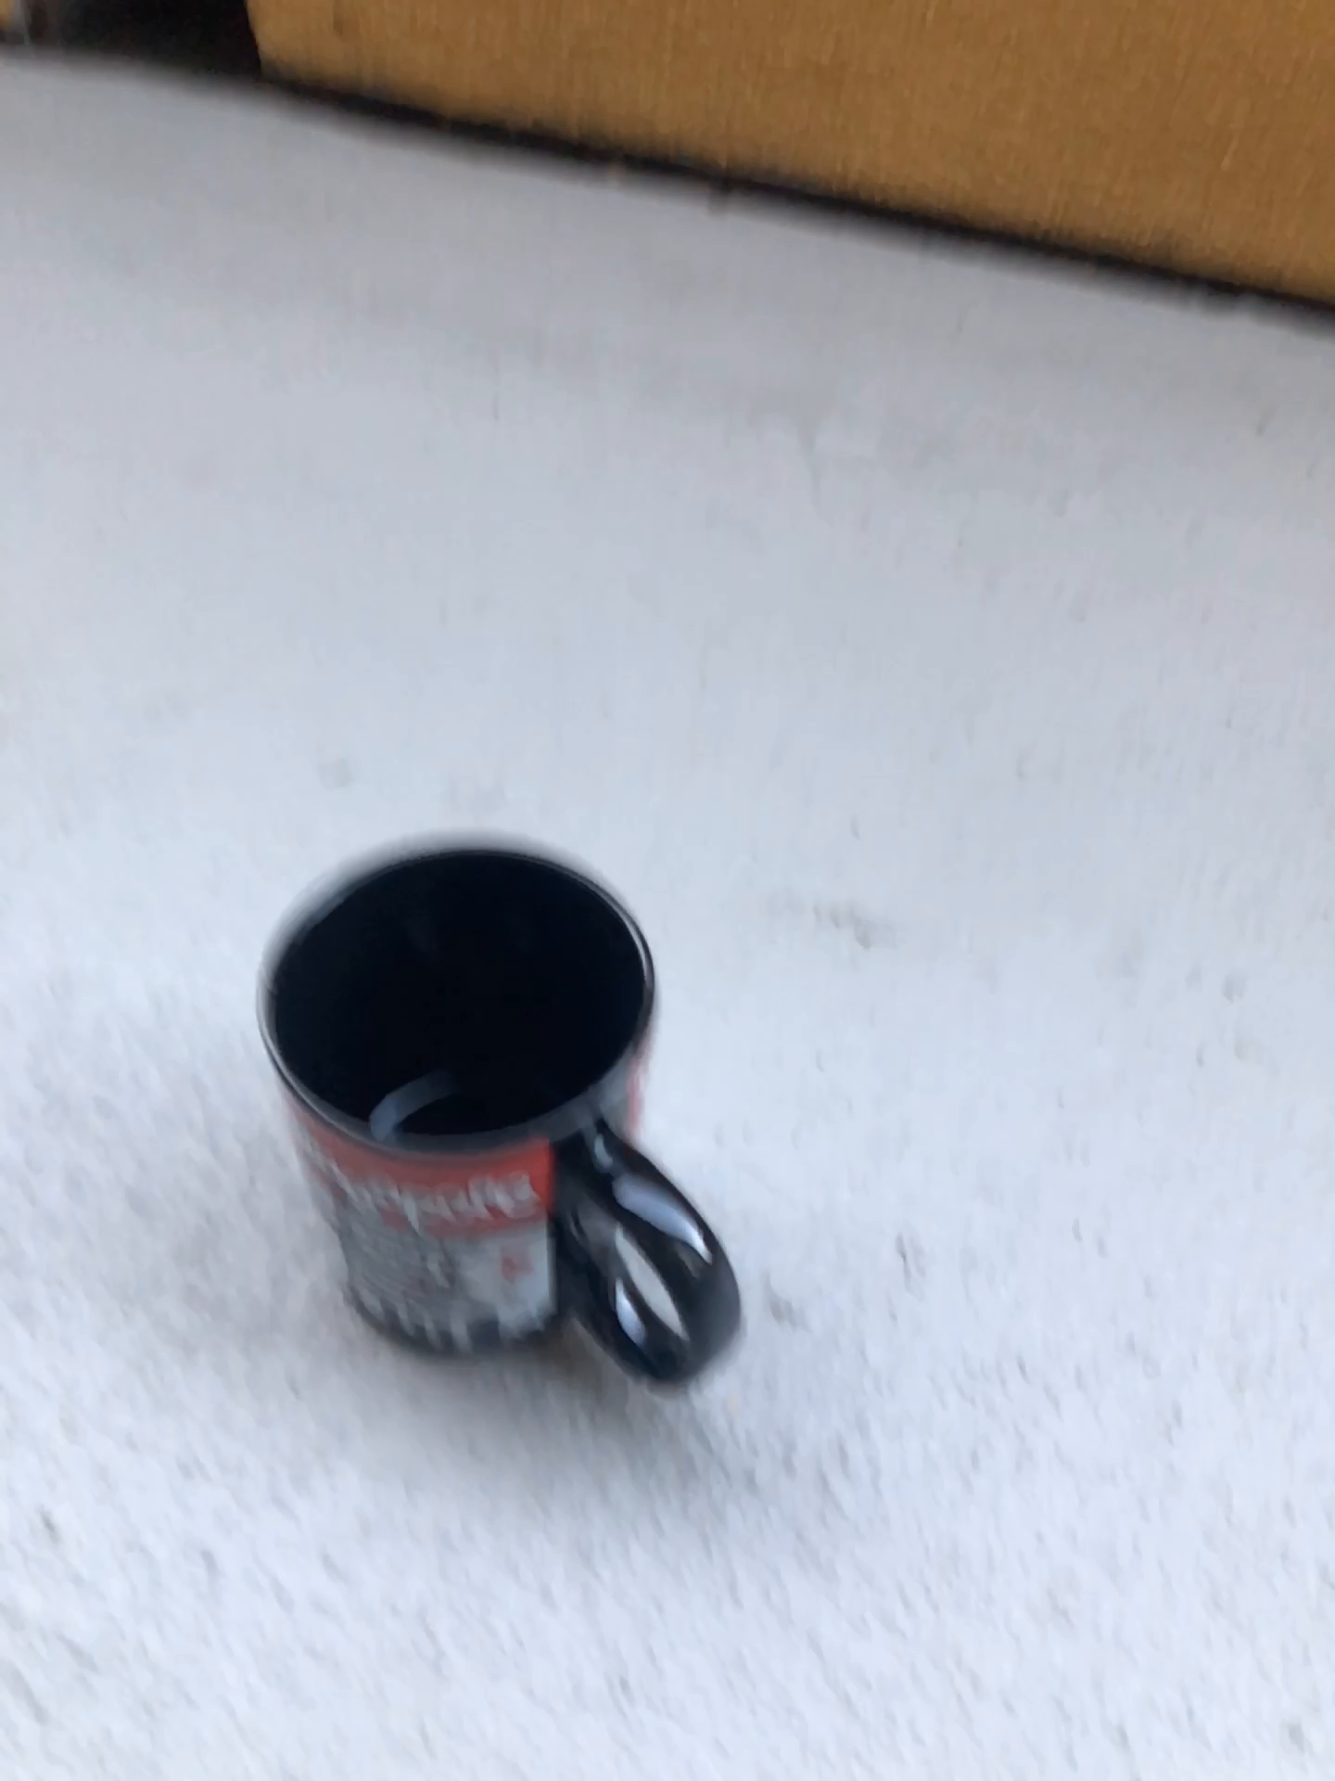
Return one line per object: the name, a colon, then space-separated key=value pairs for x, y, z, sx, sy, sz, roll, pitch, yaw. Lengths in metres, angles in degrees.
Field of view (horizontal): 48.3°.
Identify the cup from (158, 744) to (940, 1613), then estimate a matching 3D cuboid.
cup: x=-0.027 y=0.061 z=0.322 sx=0.080 sy=0.110 sz=0.130 roll=-36 pitch=61 yaw=-28
